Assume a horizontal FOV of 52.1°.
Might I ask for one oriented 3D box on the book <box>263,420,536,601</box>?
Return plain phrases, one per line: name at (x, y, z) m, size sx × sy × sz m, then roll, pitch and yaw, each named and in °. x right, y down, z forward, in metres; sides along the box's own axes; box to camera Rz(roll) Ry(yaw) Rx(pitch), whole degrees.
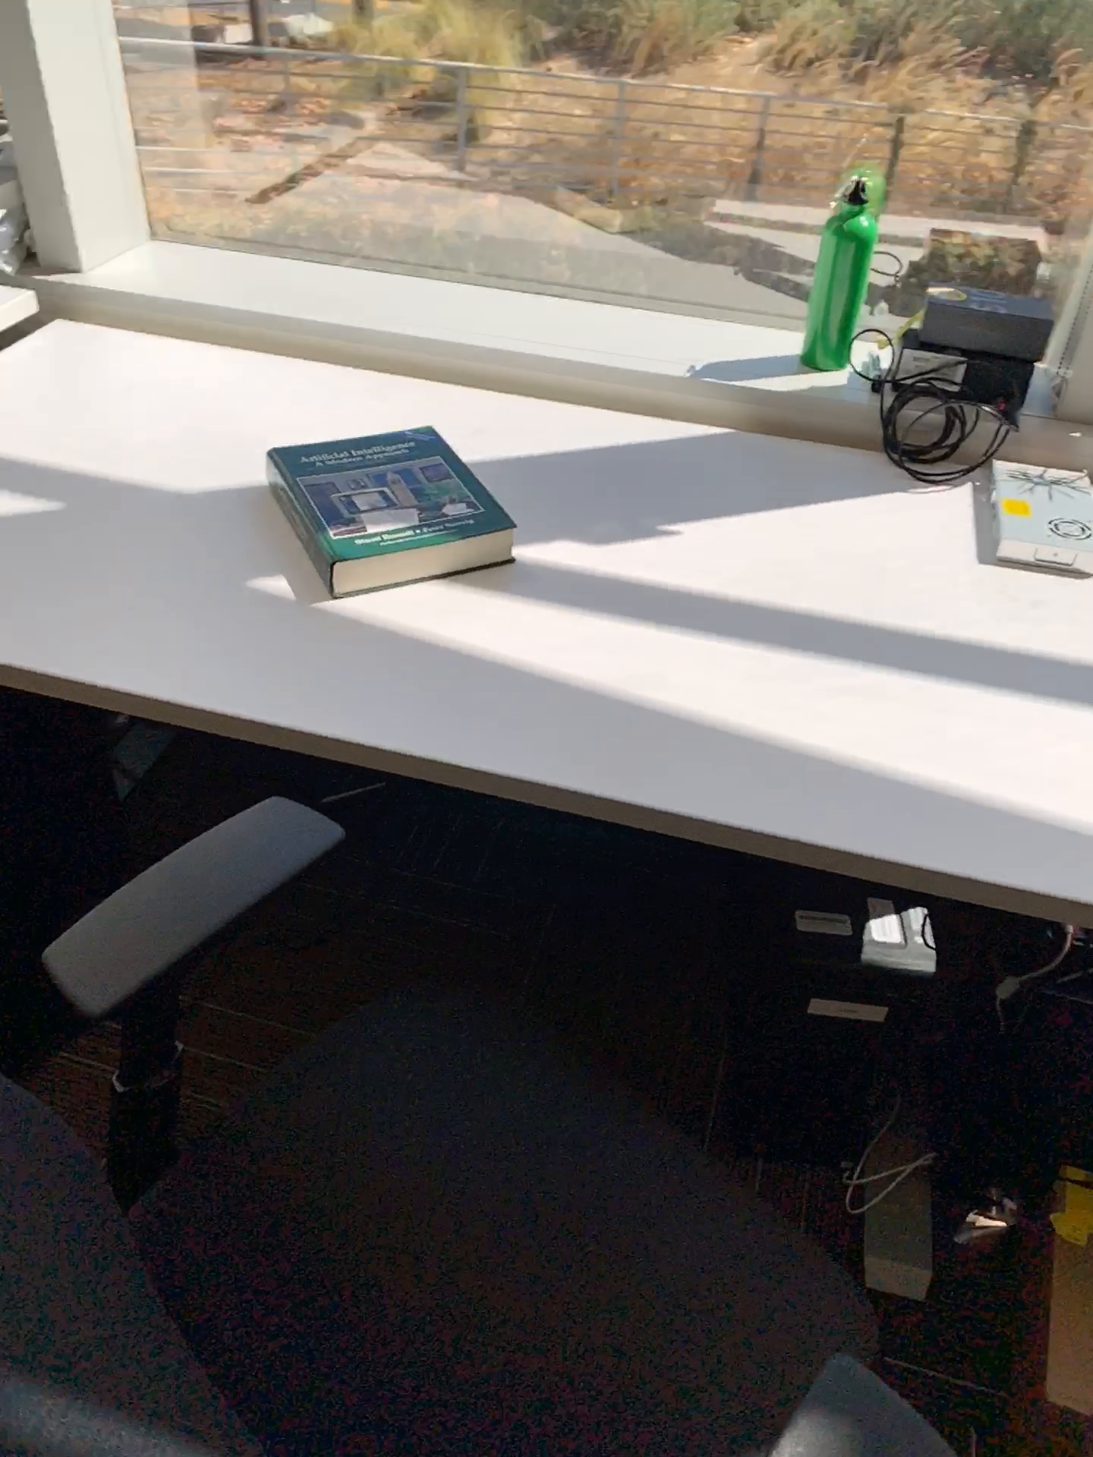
book at (-0.172, -0.257, 1.270) m, size 0.230 × 0.050 × 0.261 m, roll -15°, pitch 43°, yaw -21°
